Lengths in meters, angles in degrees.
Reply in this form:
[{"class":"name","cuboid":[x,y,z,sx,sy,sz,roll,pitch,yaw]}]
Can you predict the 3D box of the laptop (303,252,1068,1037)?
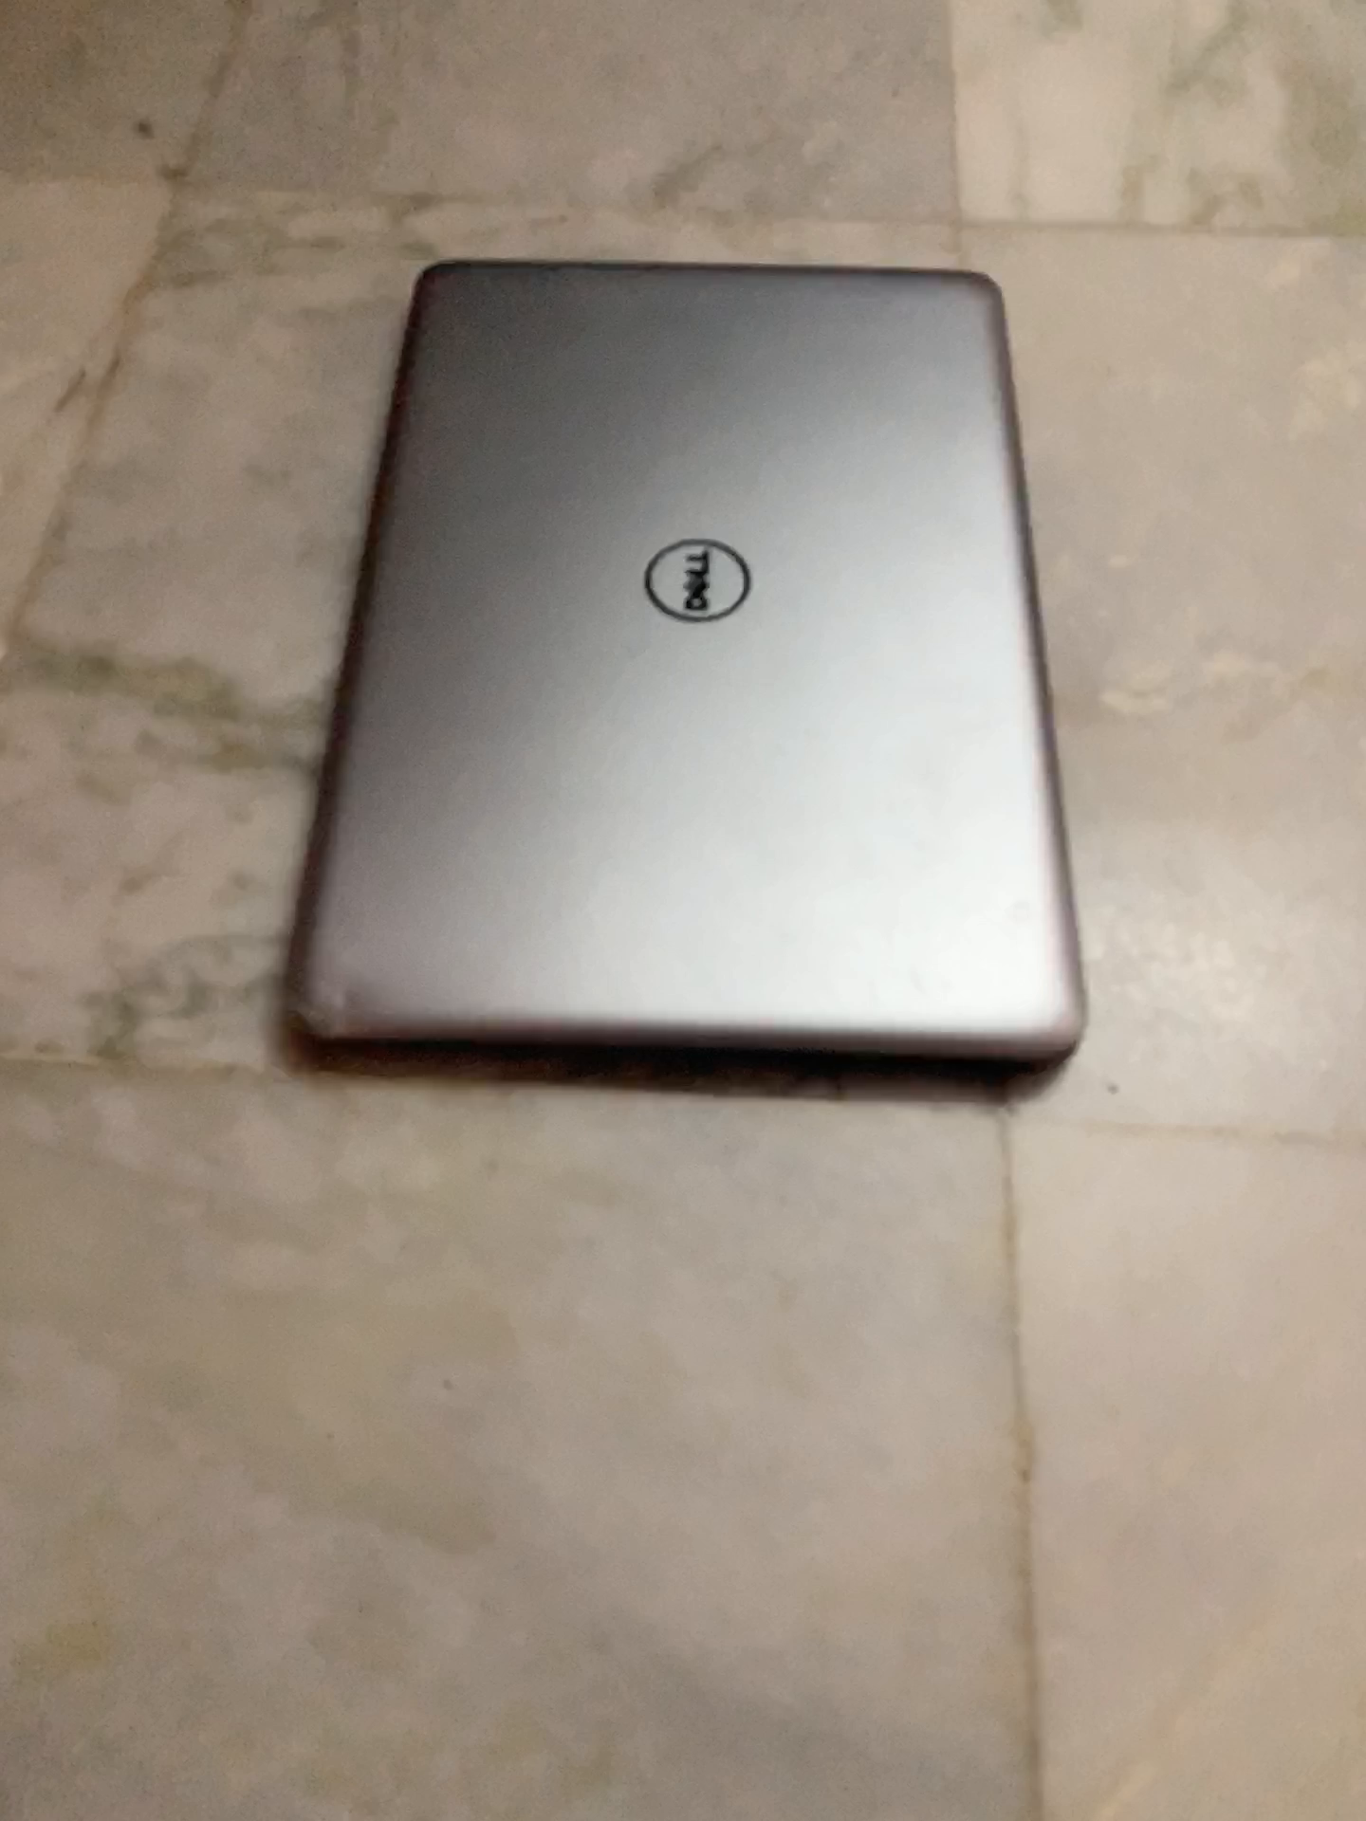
[{"class":"laptop","cuboid":[0.007,-0.121,0.503,0.234,0.001,0.352,2,62,0]}]
